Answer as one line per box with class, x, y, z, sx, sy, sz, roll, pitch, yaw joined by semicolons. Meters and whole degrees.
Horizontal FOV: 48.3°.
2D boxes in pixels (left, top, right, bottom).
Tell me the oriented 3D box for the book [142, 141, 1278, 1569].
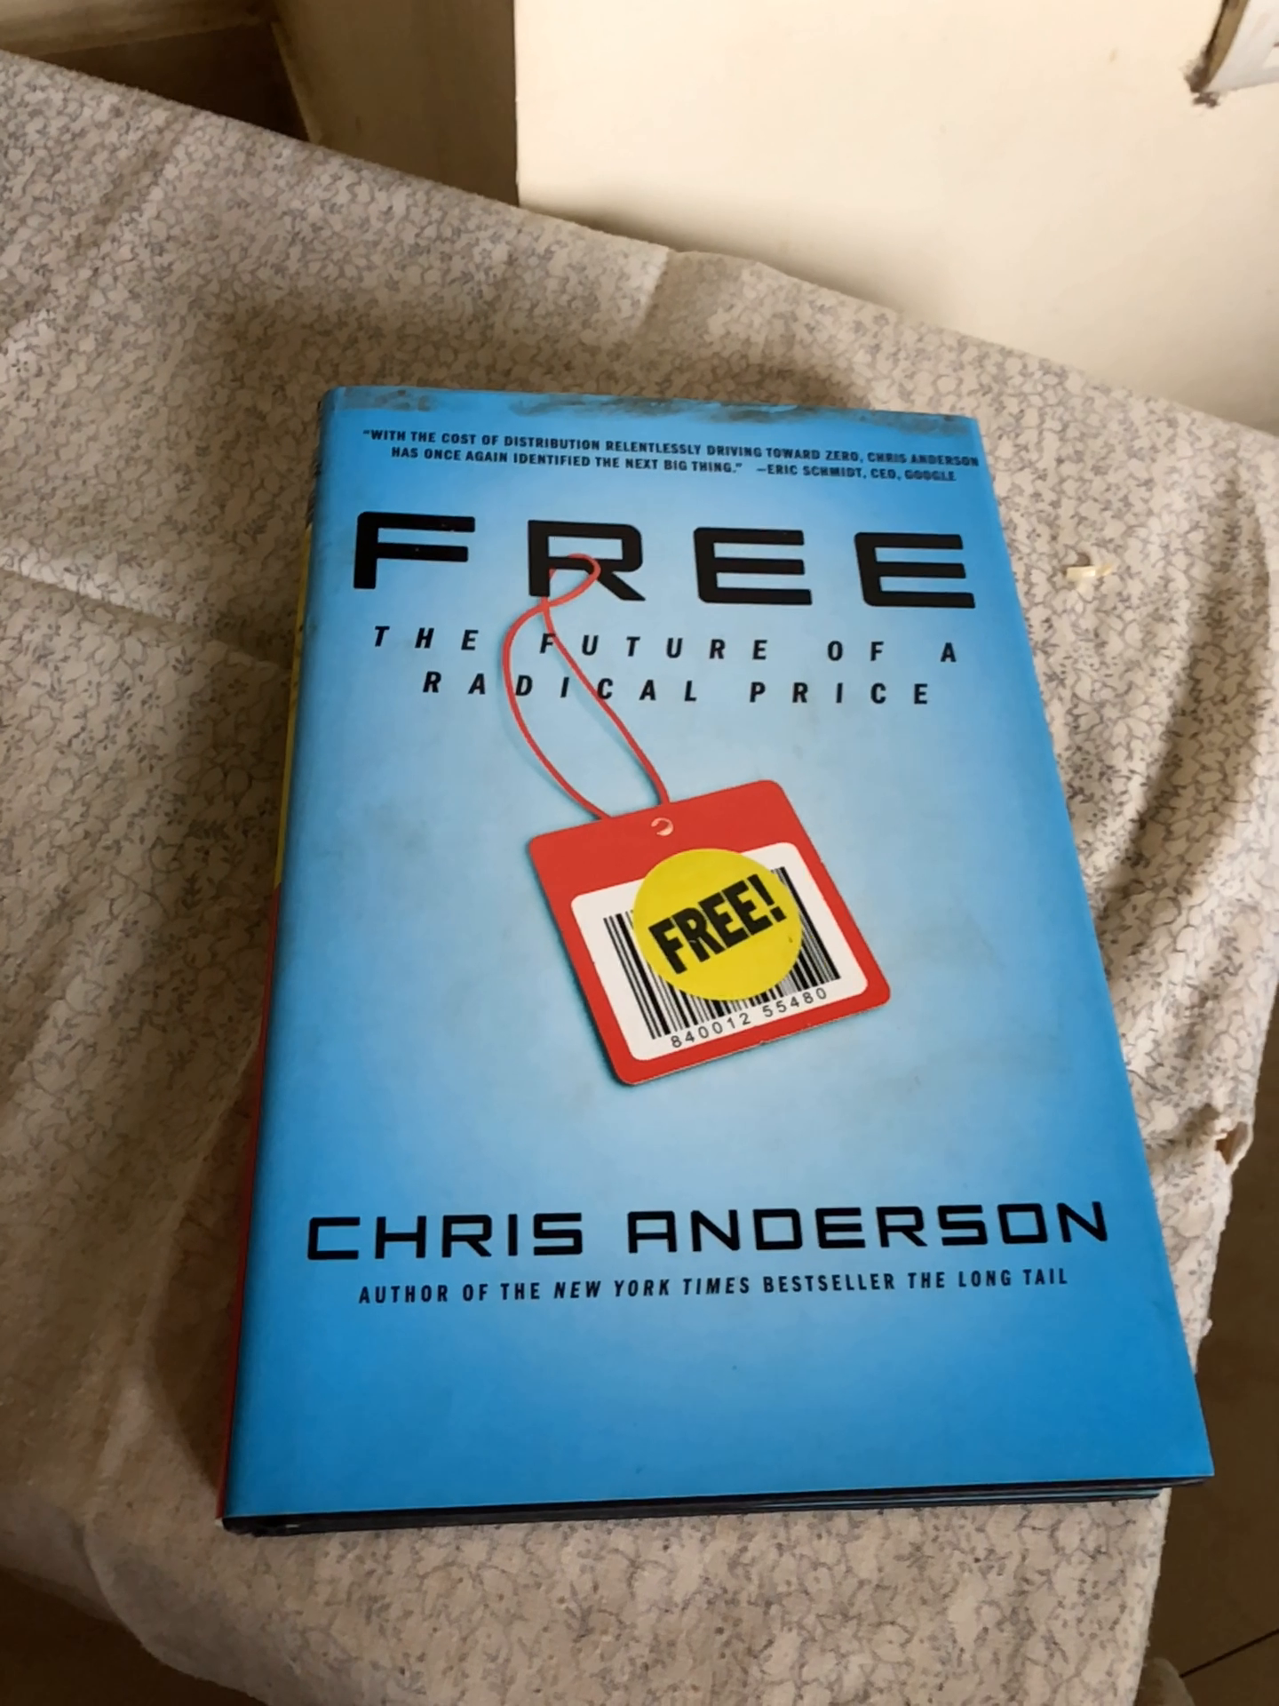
book;0.023;-0.029;0.266;0.180;0.040;0.281;0;58;-4
